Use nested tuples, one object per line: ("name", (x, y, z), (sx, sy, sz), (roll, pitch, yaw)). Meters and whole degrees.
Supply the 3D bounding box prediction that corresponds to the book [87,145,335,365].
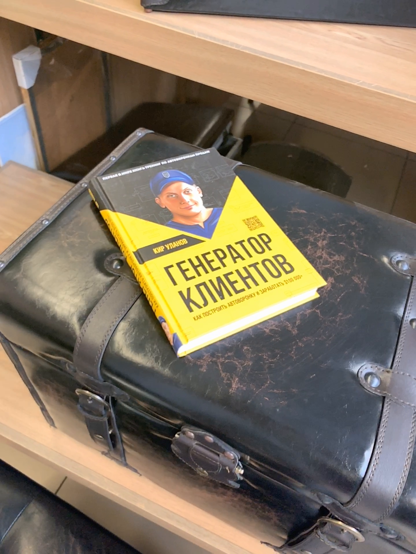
("book", (-0.008, -0.045, 0.462), (0.167, 0.030, 0.242), (-20, 56, -20))
